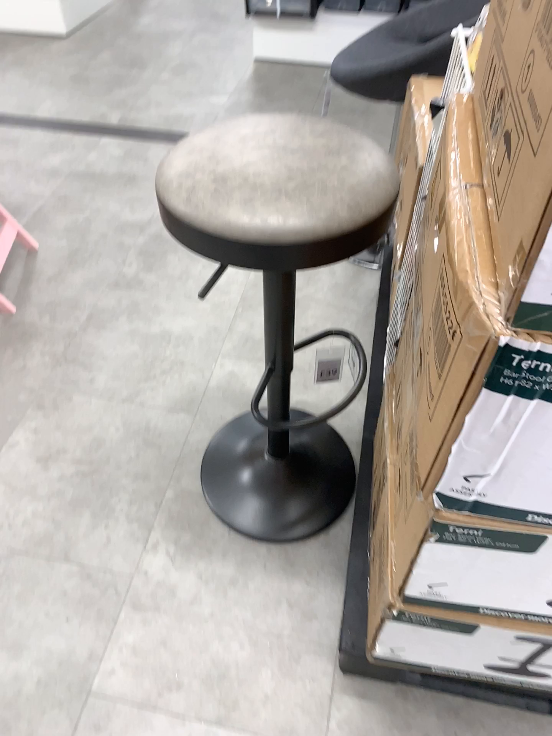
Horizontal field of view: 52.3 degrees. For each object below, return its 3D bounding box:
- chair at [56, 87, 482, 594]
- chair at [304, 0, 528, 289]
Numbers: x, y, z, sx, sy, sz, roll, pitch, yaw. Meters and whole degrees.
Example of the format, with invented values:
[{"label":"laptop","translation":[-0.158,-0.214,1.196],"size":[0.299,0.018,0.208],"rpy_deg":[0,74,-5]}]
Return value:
[{"label":"chair","translation":[0.012,-0.023,1.067],"size":[0.434,0.741,0.461],"rpy_deg":[23,51,19]},{"label":"chair","translation":[0.378,-0.713,1.664],"size":[0.453,0.721,0.512],"rpy_deg":[11,48,10]}]
